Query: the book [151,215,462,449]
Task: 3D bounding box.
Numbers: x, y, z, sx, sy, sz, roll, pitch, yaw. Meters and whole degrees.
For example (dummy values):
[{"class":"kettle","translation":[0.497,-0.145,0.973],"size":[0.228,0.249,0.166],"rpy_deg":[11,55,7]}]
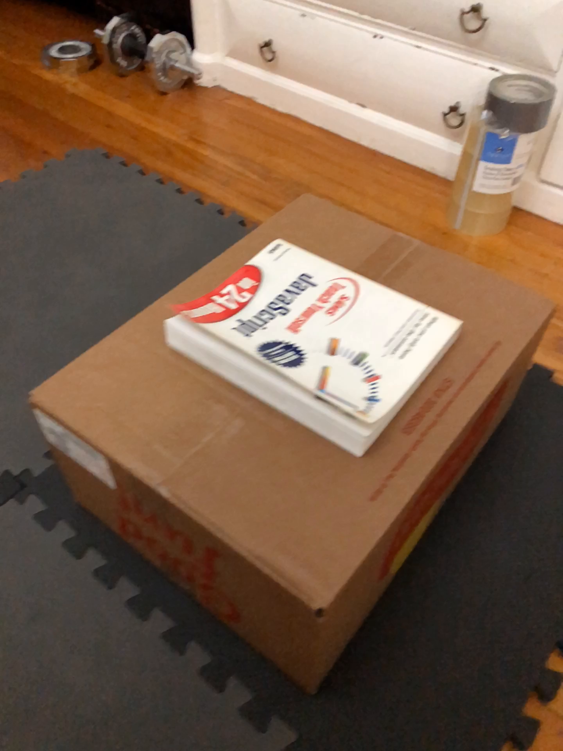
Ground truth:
[{"class":"book","translation":[0.027,-0.061,0.629],"size":[0.240,0.030,0.201],"rpy_deg":[30,54,22]}]
